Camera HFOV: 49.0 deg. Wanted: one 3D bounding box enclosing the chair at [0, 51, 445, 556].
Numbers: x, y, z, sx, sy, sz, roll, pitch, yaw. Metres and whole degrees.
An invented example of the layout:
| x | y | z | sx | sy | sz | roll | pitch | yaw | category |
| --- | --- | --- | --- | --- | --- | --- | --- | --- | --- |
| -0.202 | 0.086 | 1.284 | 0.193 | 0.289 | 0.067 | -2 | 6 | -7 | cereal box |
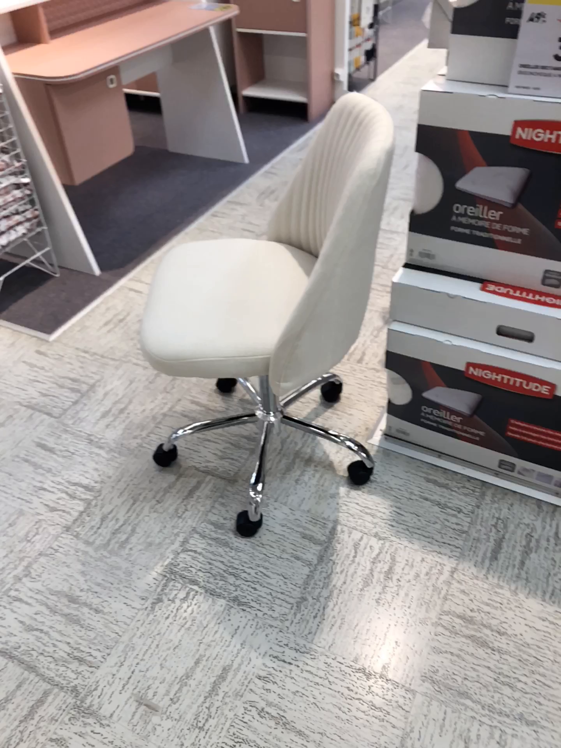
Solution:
| x | y | z | sx | sy | sz | roll | pitch | yaw | category |
| --- | --- | --- | --- | --- | --- | --- | --- | --- | --- |
| -0.106 | -0.169 | 1.358 | 0.630 | 0.785 | 0.704 | -6 | 40 | -3 | chair |
